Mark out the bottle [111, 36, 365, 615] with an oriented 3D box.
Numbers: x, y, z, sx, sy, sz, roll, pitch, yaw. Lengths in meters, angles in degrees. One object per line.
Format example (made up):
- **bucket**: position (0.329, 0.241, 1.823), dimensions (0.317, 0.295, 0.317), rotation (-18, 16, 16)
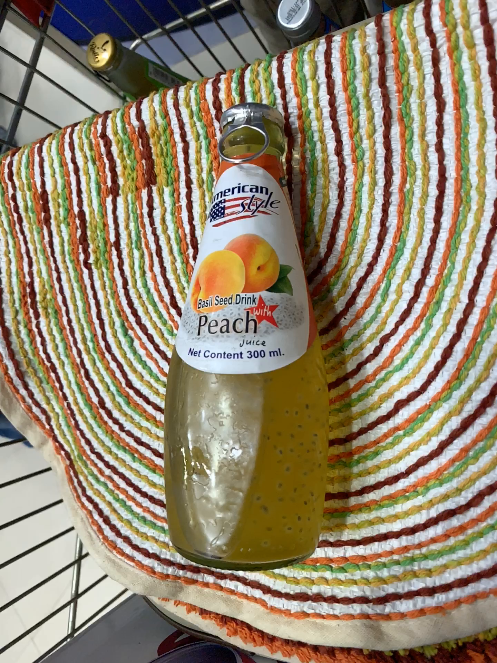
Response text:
- **bottle**: position (0.003, -0.009, 0.208), dimensions (0.070, 0.060, 0.200), rotation (4, 79, 9)
